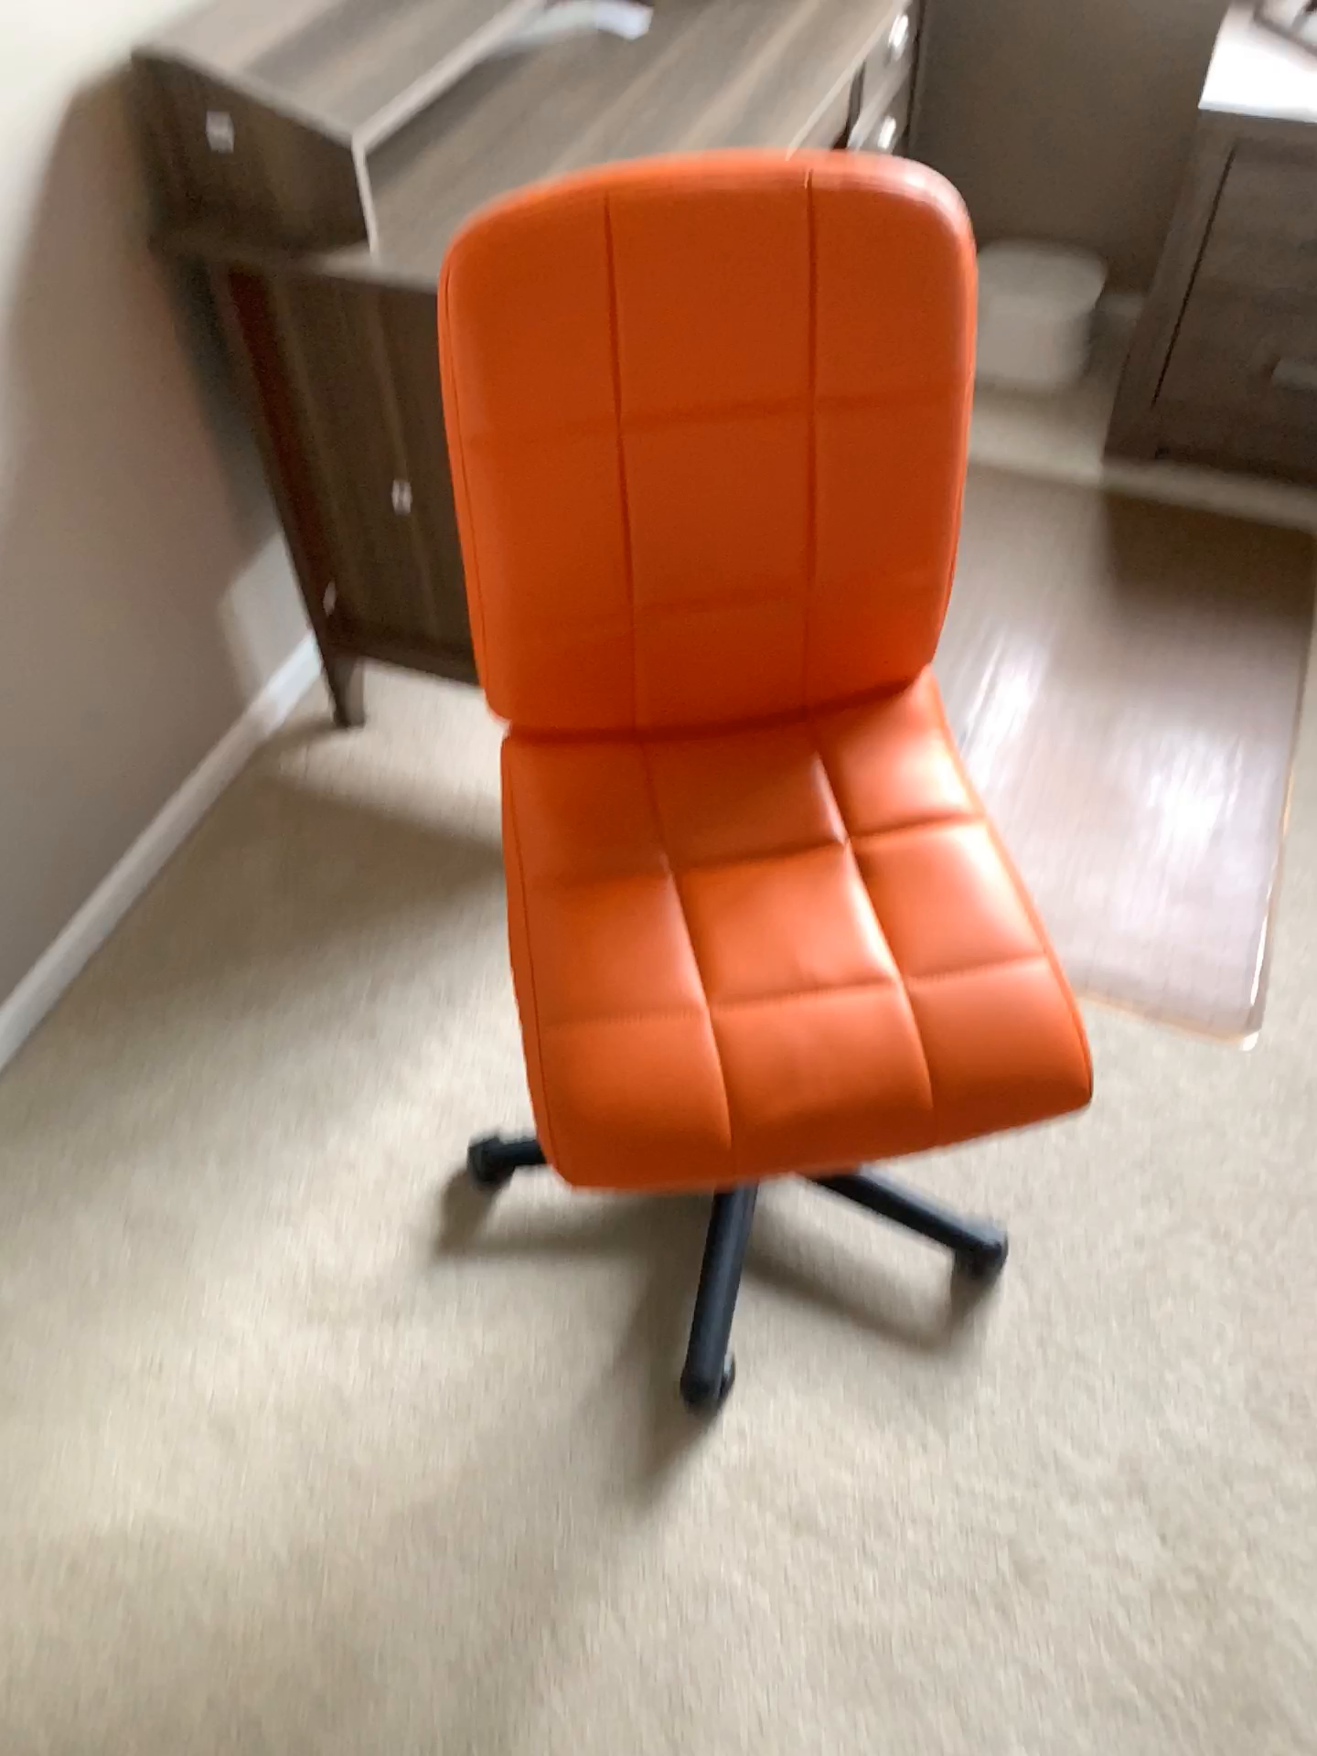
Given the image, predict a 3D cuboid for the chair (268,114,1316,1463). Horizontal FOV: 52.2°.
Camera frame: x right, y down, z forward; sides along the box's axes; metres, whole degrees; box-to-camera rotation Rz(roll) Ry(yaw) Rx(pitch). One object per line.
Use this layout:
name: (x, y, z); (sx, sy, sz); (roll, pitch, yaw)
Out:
chair: (0.084, -0.020, 1.148); (0.613, 0.902, 0.621); (-9, 50, -7)
